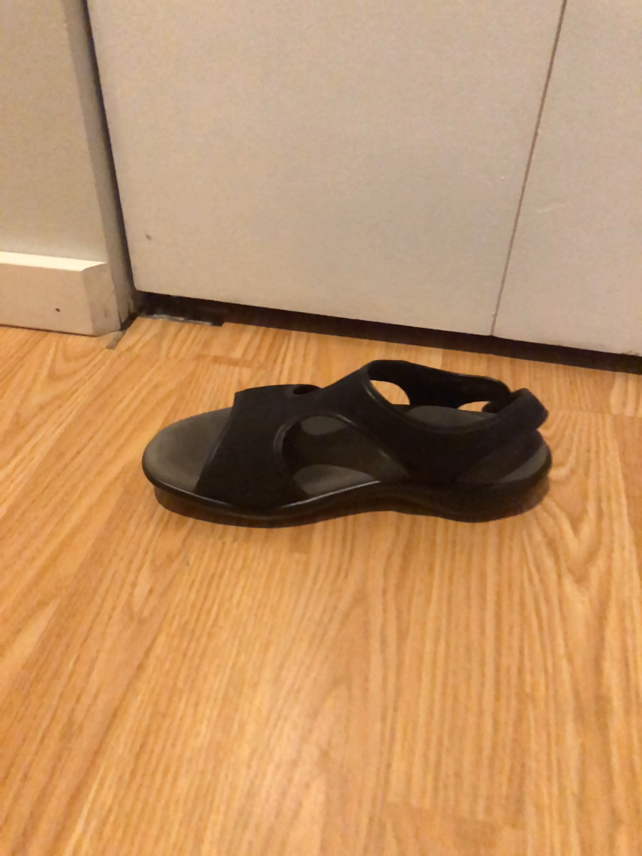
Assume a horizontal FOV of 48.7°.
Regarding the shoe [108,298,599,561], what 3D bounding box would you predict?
[{"bbox_3d":[0.017,-0.001,0.431,0.250,0.100,0.100,4,41,2],"label":"shoe"}]
